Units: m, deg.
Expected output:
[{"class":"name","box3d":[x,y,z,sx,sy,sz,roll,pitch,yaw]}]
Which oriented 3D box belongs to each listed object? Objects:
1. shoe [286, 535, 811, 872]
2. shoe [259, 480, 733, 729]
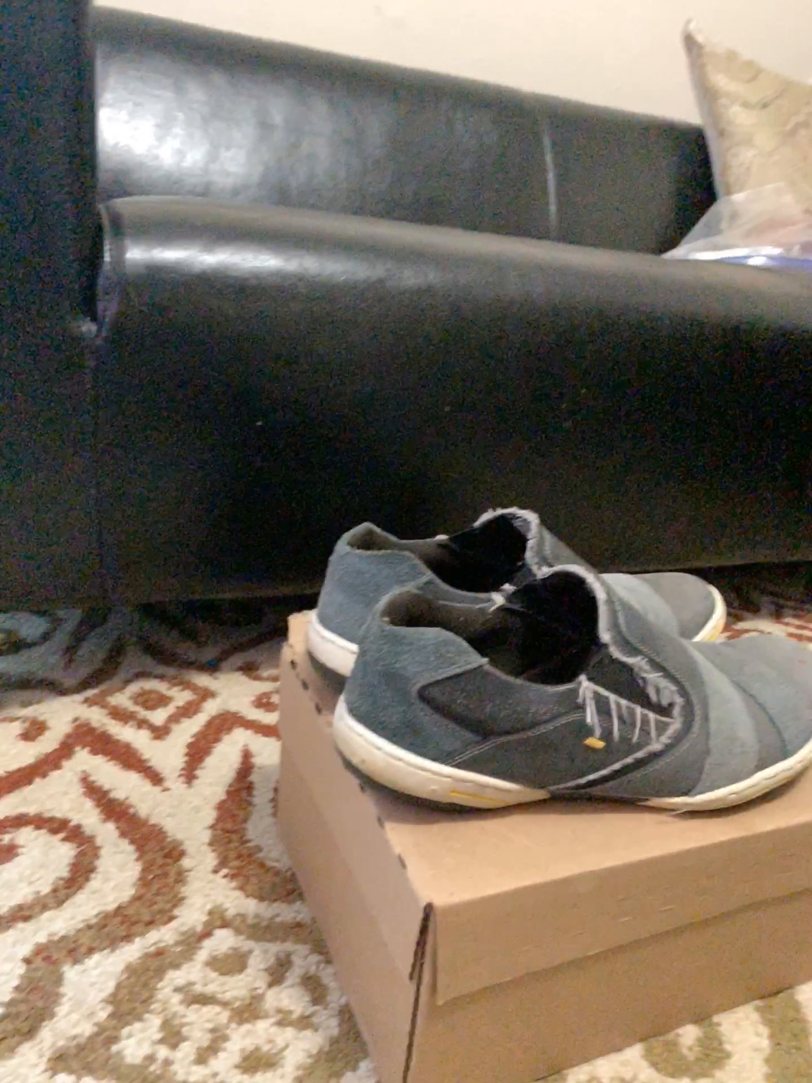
[{"class":"shoe","box3d":[0.081,0.068,0.440,0.260,0.100,0.141,0,20,-18]},{"class":"shoe","box3d":[0.047,0.029,0.539,0.260,0.100,0.141,0,20,-18]}]
